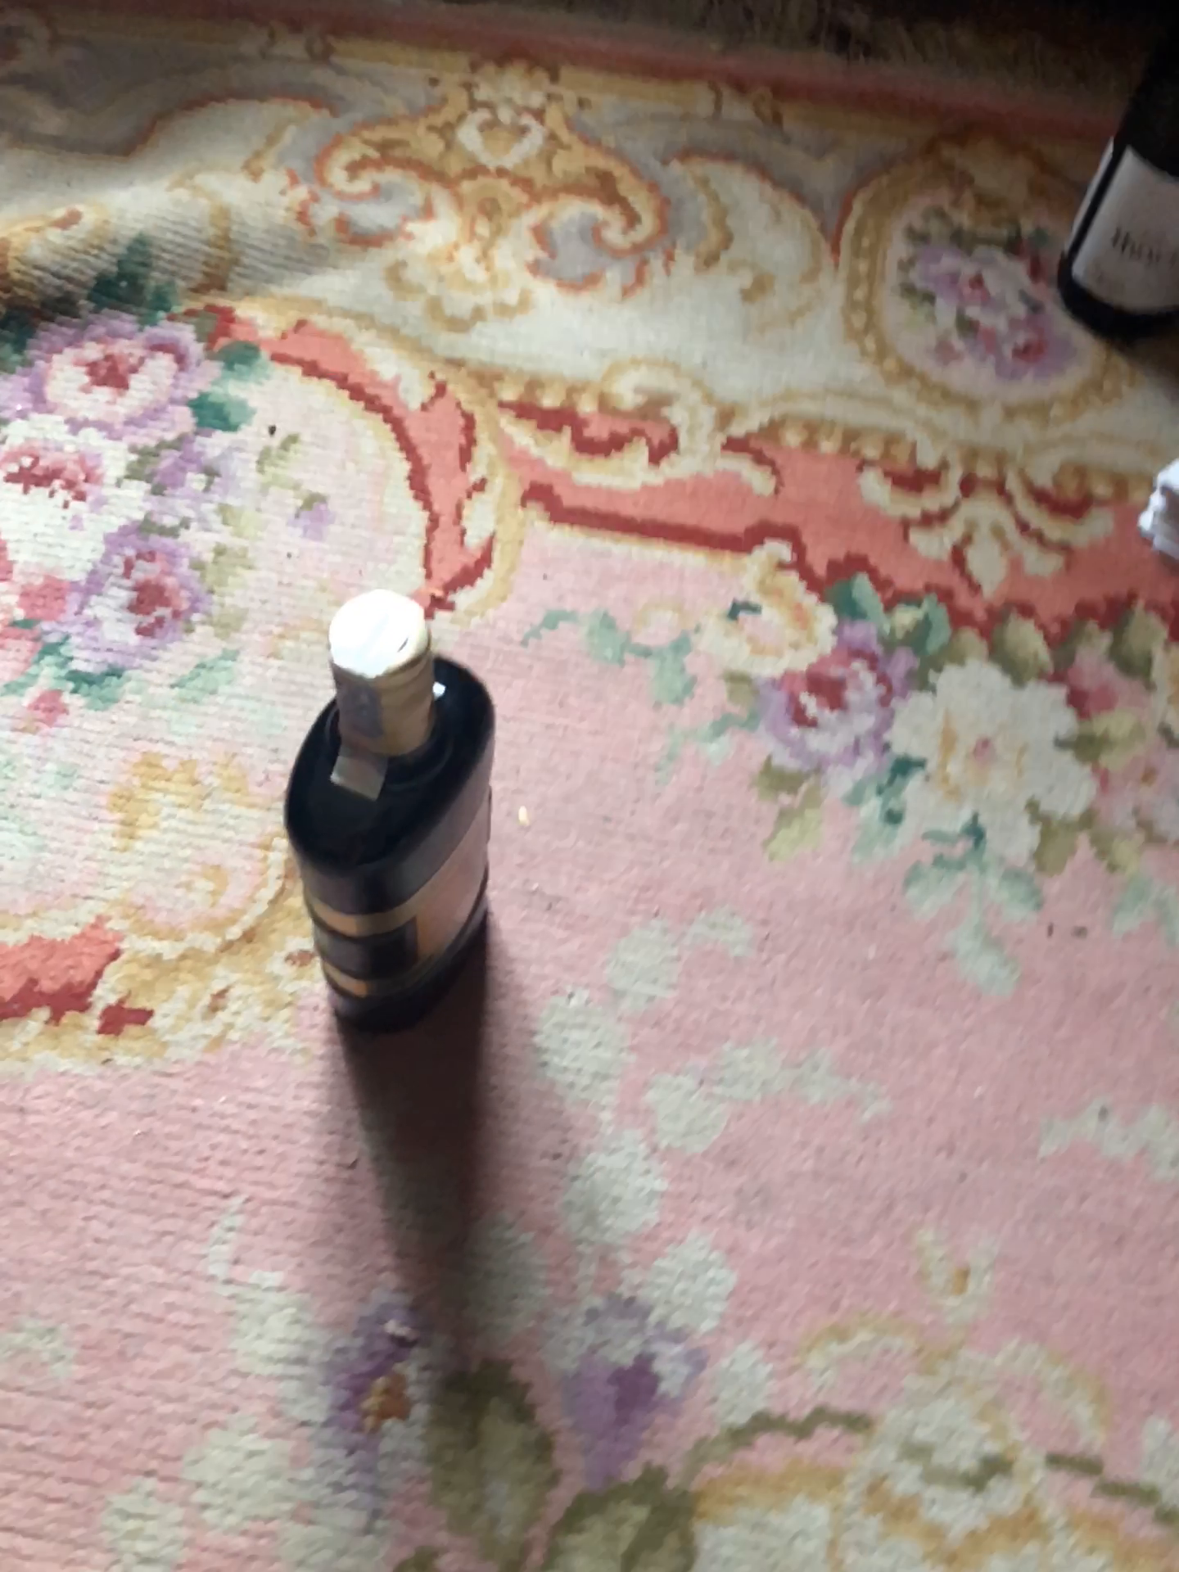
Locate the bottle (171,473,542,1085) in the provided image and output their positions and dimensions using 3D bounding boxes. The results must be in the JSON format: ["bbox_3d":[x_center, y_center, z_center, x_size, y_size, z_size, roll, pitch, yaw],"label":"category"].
[{"bbox_3d":[-0.068,0.016,0.453,0.050,0.239,0.100,28,63,11],"label":"bottle"}]
